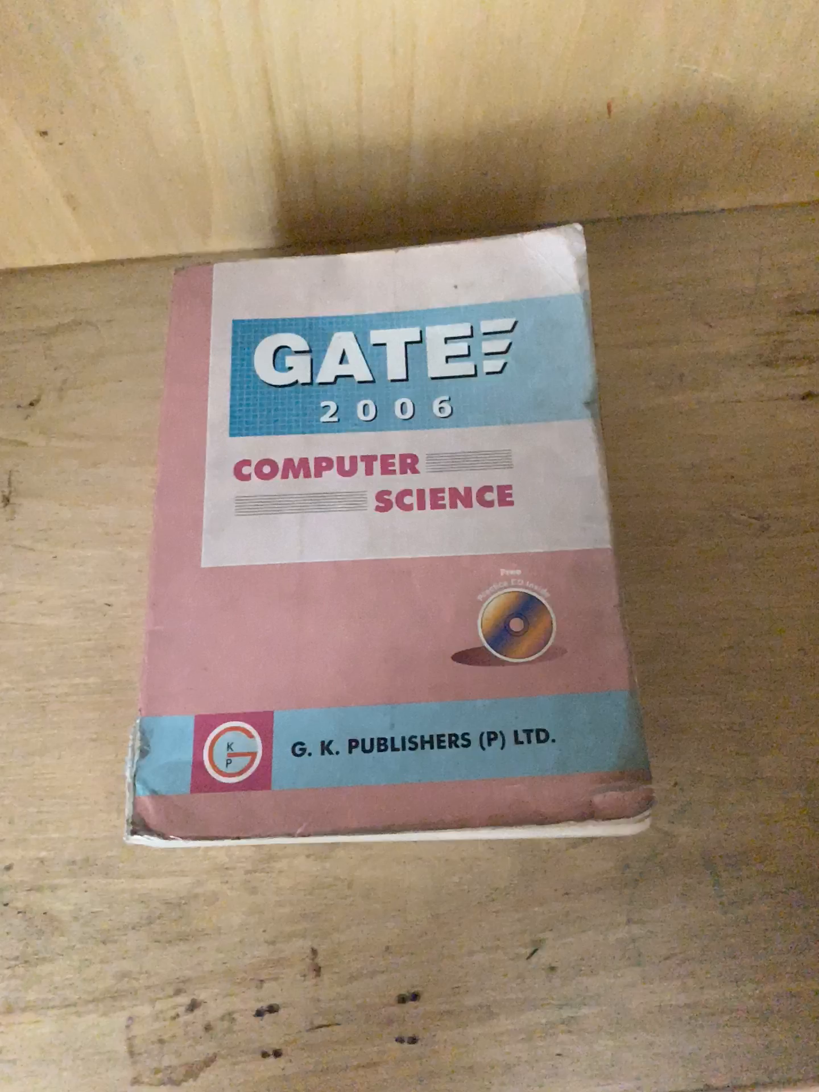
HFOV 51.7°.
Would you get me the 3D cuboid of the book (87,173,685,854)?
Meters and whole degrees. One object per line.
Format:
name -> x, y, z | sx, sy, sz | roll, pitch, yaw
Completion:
book -> -0.010, -0.018, 0.354 | 0.190, 0.080, 0.271 | -2, 69, 0
